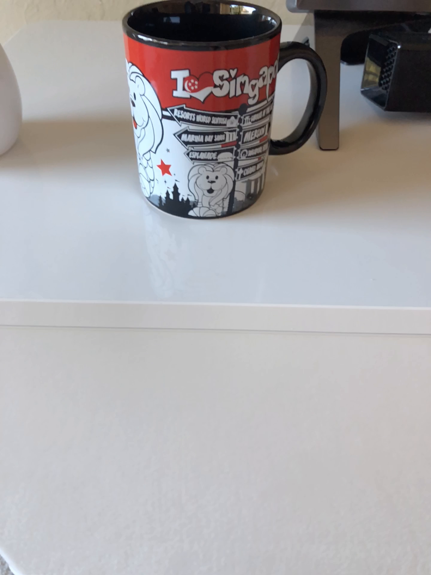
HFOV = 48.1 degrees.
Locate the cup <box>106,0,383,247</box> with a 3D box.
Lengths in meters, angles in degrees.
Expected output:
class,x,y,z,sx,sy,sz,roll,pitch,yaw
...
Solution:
class,x,y,z,sx,sy,sz,roll,pitch,yaw
cup,0.011,-0.103,0.284,0.120,0.109,0.080,-14,44,-16
